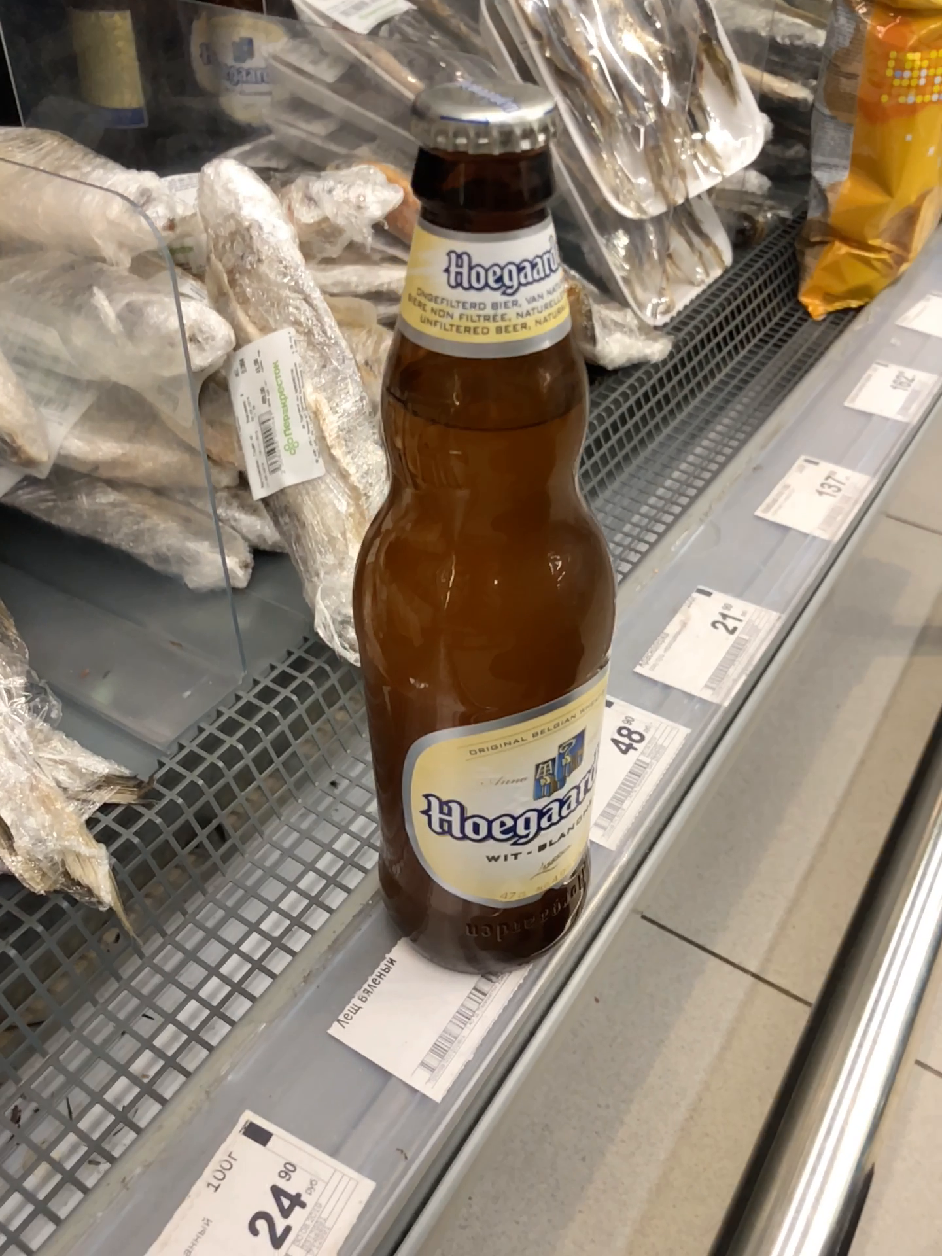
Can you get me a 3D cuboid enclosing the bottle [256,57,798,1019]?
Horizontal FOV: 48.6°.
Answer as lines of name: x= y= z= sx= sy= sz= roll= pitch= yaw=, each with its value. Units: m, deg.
bottle: x=0.007 y=-0.006 z=0.265 sx=0.070 sy=0.229 sz=0.070 roll=1 pitch=41 yaw=-1
